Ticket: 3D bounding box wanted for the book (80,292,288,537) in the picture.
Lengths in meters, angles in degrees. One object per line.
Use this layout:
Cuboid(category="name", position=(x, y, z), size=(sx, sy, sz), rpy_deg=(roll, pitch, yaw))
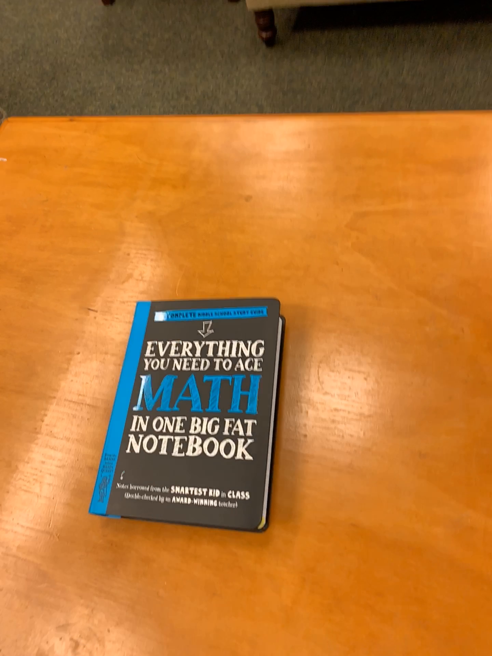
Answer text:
Cuboid(category="book", position=(-0.048, 0.072, 0.465), size=(0.157, 0.050, 0.208), rpy_deg=(0, 68, 13))
